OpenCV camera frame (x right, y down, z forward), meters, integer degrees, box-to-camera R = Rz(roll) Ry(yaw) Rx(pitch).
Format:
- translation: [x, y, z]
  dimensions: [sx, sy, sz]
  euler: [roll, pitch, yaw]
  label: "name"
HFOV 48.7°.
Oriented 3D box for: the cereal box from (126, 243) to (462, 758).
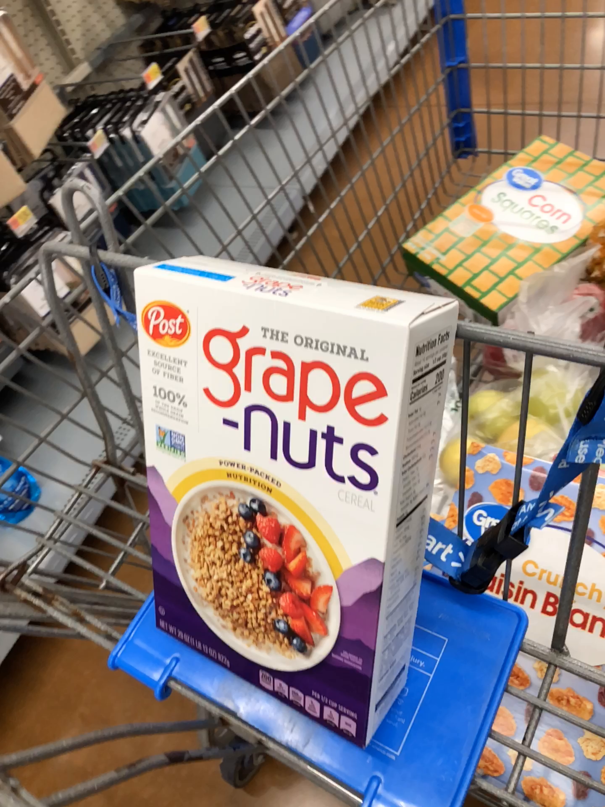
- translation: [-0.017, 0.049, 0.381]
  dimensions: [0.171, 0.250, 0.050]
  euler: [17, 26, 30]
  label: "cereal box"
